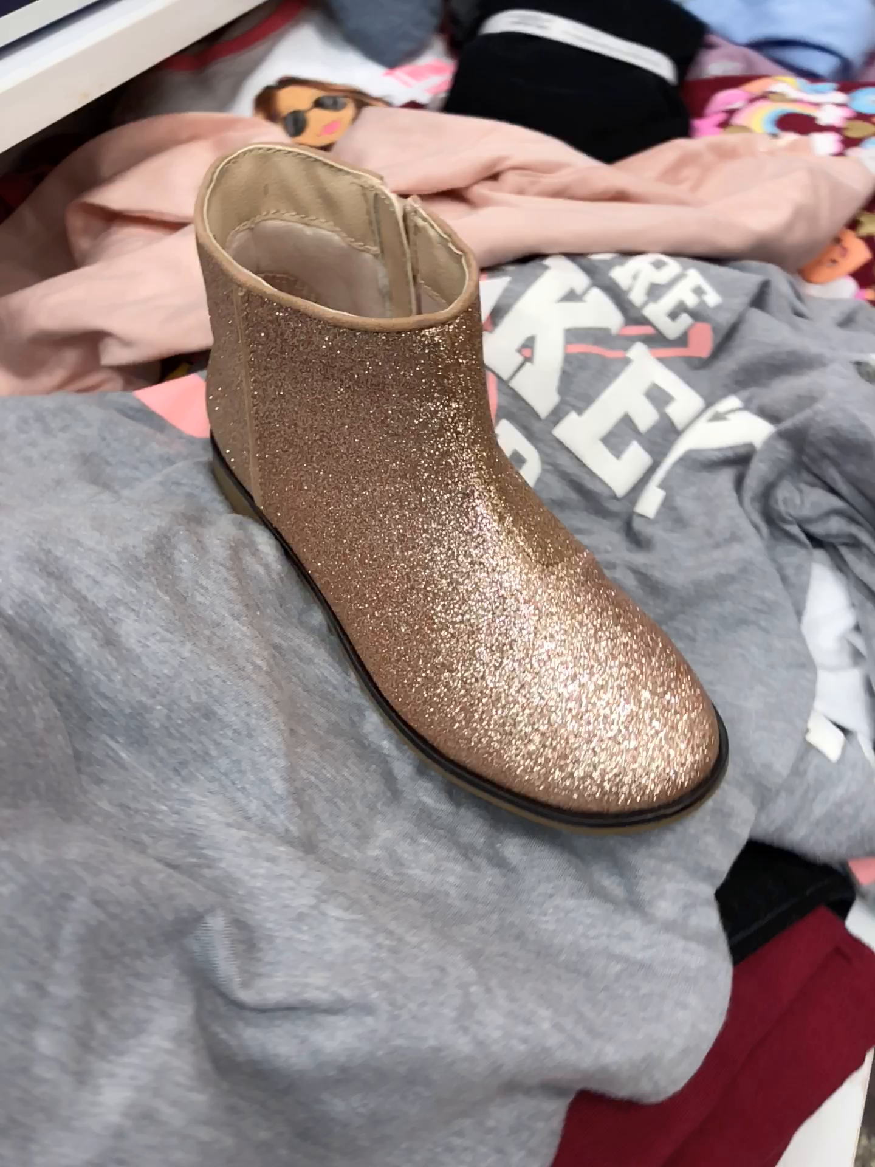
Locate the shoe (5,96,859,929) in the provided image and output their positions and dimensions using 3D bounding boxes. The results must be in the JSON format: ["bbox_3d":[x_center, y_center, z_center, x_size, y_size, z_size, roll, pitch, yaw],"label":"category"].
[{"bbox_3d":[-0.018,-0.039,0.287,0.083,0.130,0.238,-33,49,-23],"label":"shoe"}]
